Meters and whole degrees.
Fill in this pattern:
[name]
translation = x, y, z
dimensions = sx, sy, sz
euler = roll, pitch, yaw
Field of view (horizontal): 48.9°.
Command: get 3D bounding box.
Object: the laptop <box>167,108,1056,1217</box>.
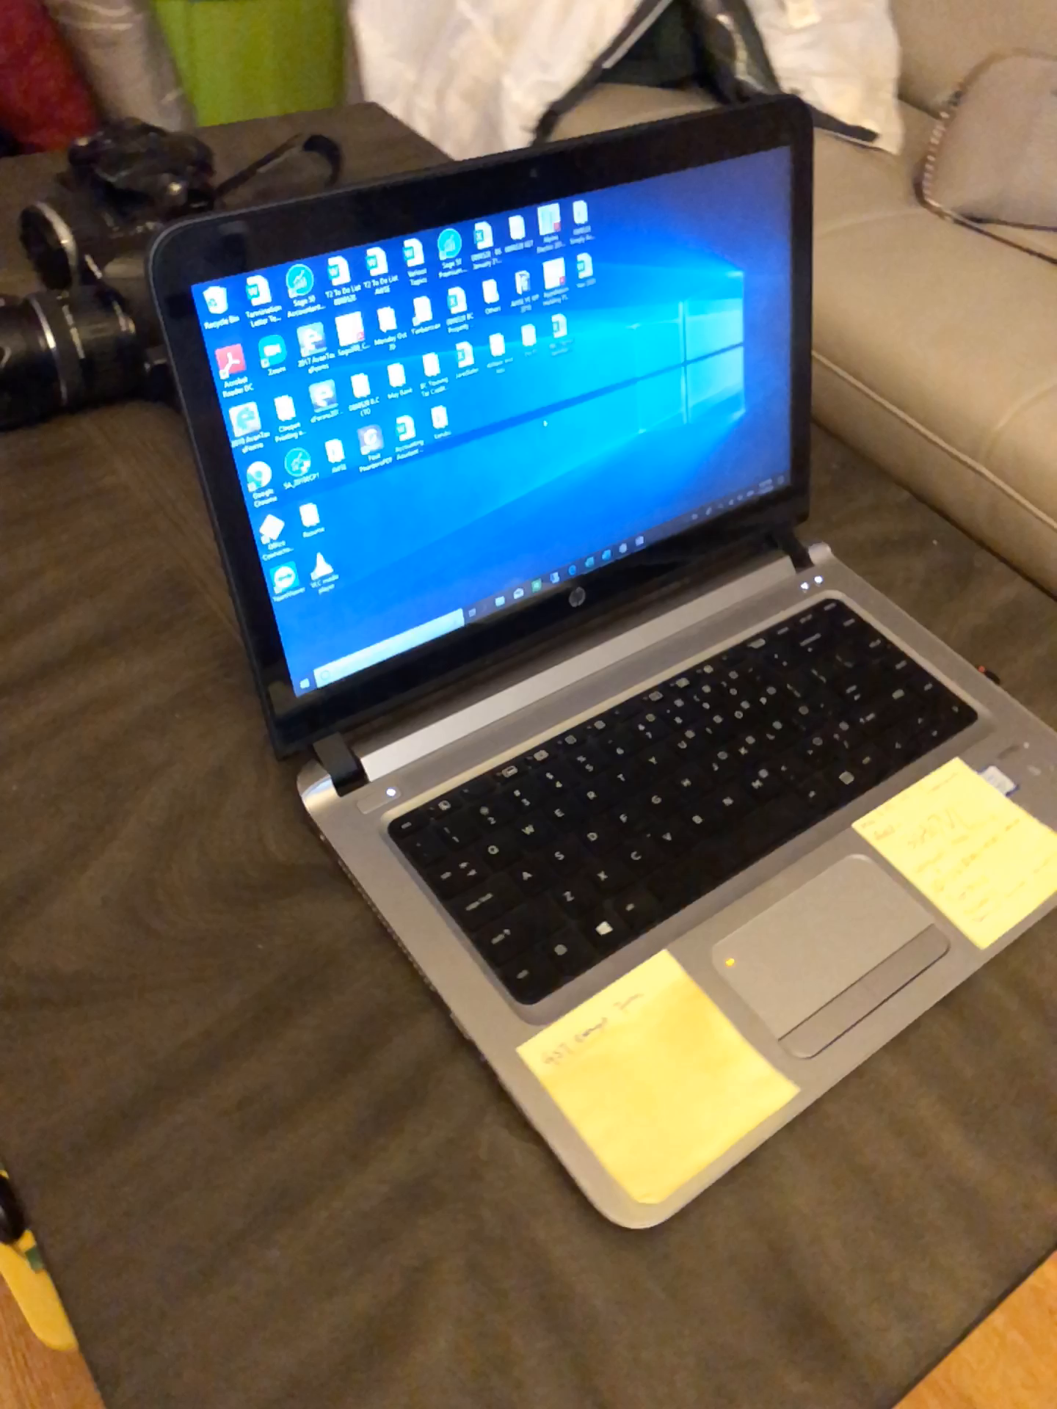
[laptop]
translation = 0.084, -0.052, 0.474
dimensions = 0.320, 0.208, 0.307
euler = -26, 56, -27
